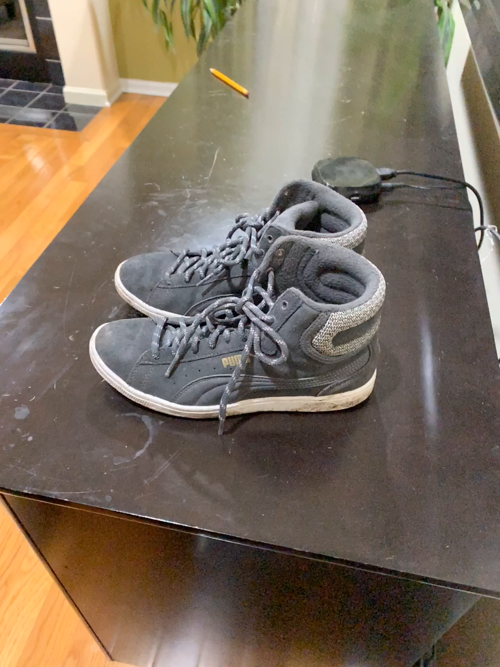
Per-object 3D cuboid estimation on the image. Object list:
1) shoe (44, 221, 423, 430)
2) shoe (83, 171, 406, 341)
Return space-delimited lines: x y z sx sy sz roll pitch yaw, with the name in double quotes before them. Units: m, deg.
"shoe" -0.011 -0.005 0.419 0.252 0.124 0.098 3 46 1
"shoe" -0.004 -0.073 0.486 0.260 0.107 0.101 3 46 1
